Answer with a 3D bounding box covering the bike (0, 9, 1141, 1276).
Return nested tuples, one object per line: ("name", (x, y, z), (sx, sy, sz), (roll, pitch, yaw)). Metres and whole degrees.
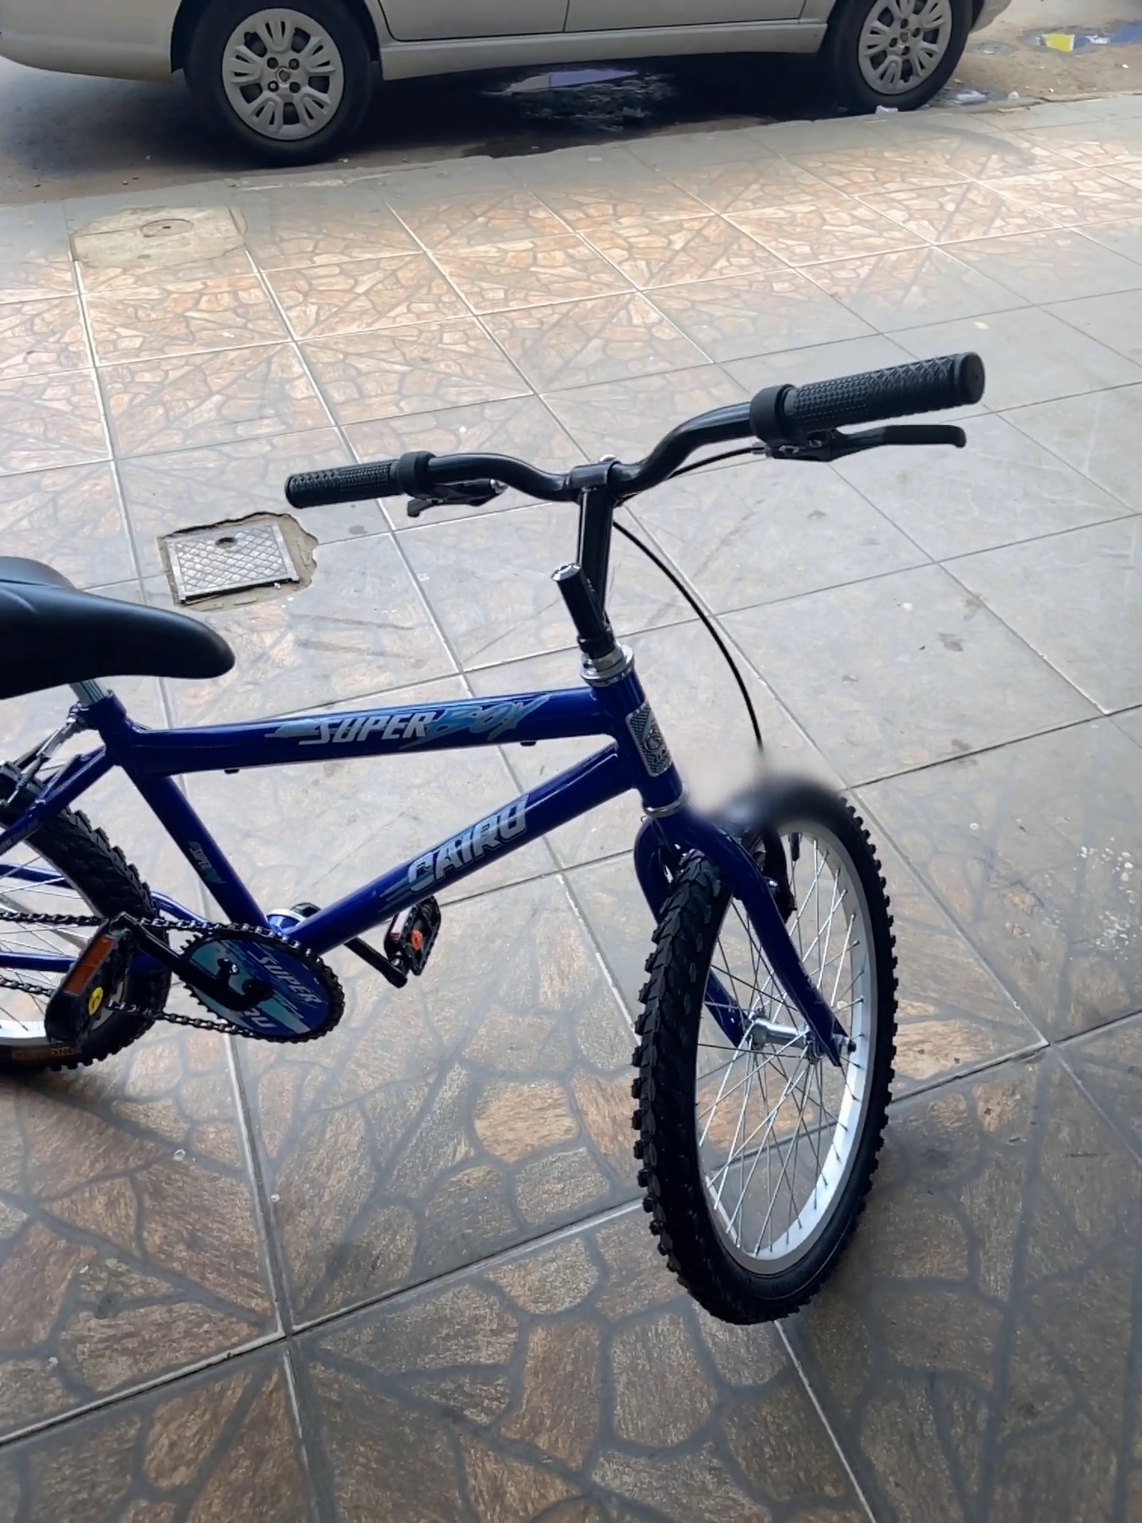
("bike", (-0.326, -0.012, 1.023), (1.181, 0.949, 0.546), (0, 45, 2))
